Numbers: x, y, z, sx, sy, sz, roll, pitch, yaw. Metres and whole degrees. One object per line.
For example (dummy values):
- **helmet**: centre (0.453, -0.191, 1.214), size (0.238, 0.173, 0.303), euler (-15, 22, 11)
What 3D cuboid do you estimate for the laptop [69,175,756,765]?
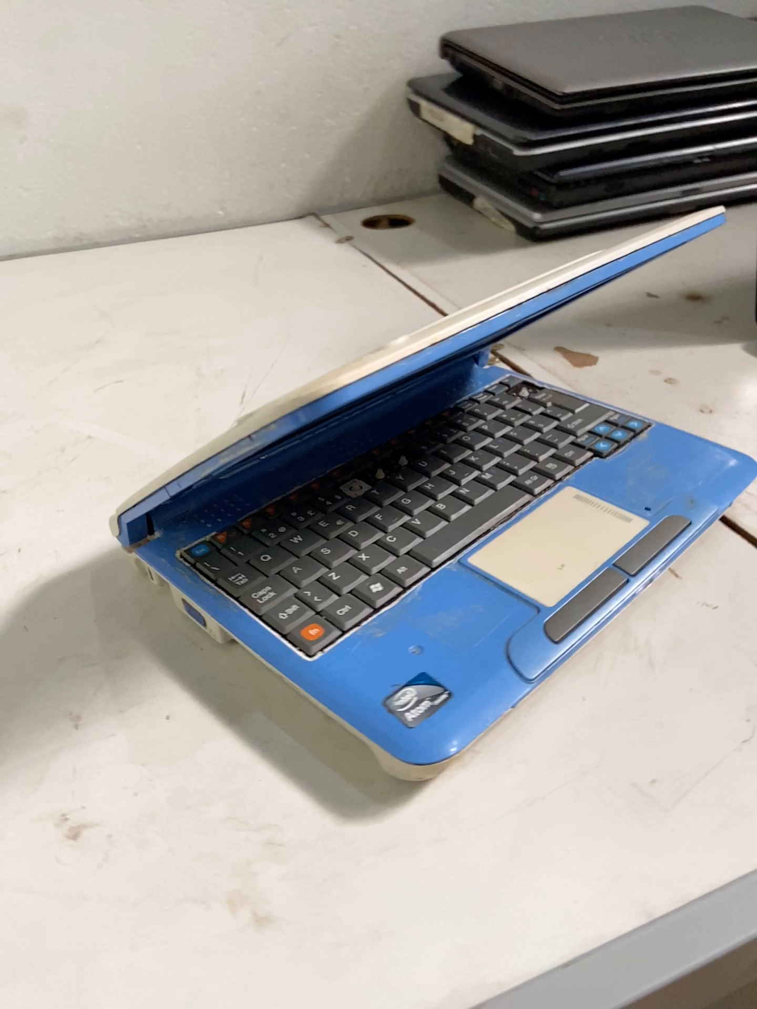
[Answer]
- **laptop**: centre (0.036, -0.049, 0.346), size (0.247, 0.116, 0.182), euler (-30, 42, -32)
